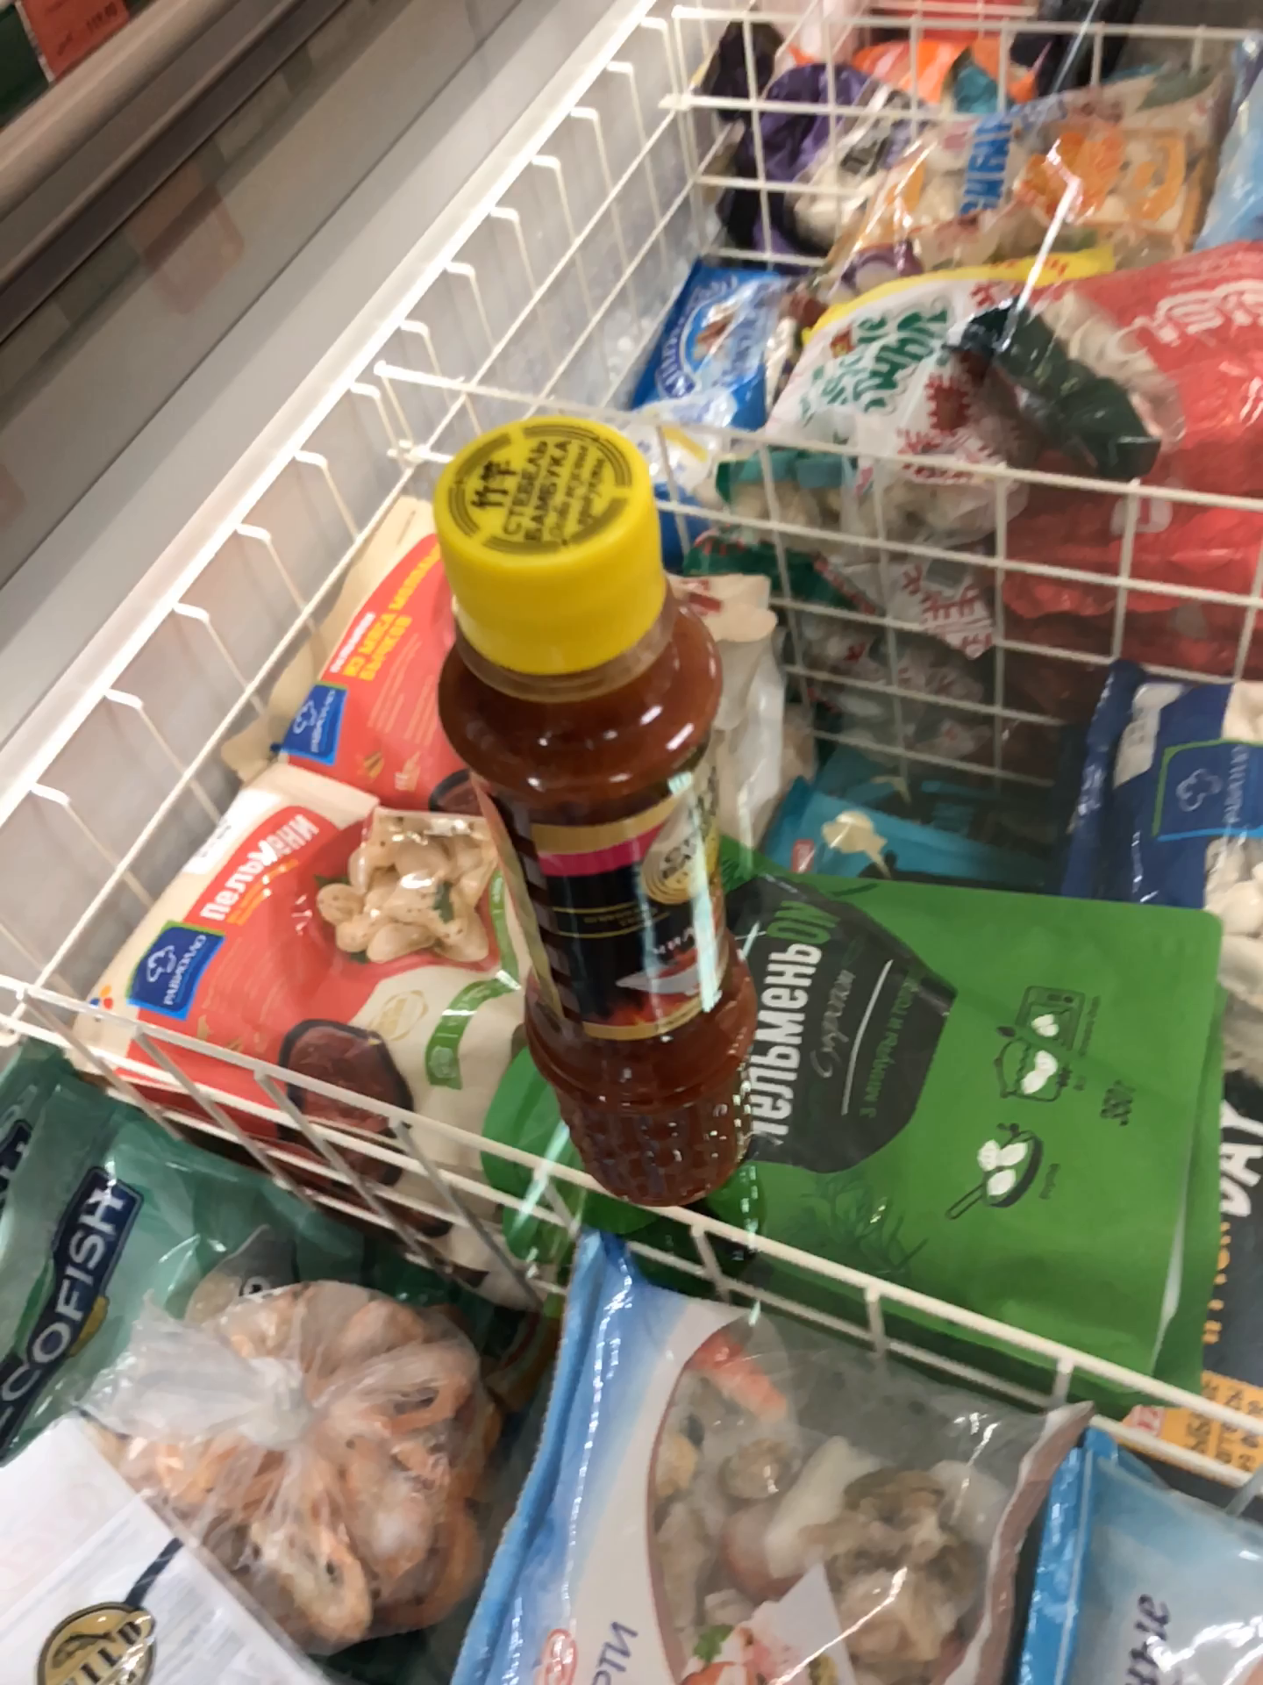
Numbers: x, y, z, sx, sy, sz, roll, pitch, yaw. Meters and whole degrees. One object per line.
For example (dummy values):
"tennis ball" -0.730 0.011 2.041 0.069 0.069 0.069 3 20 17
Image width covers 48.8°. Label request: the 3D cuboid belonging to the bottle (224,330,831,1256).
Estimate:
"bottle" -0.002 0.009 0.270 0.060 0.199 0.060 -4 55 6
